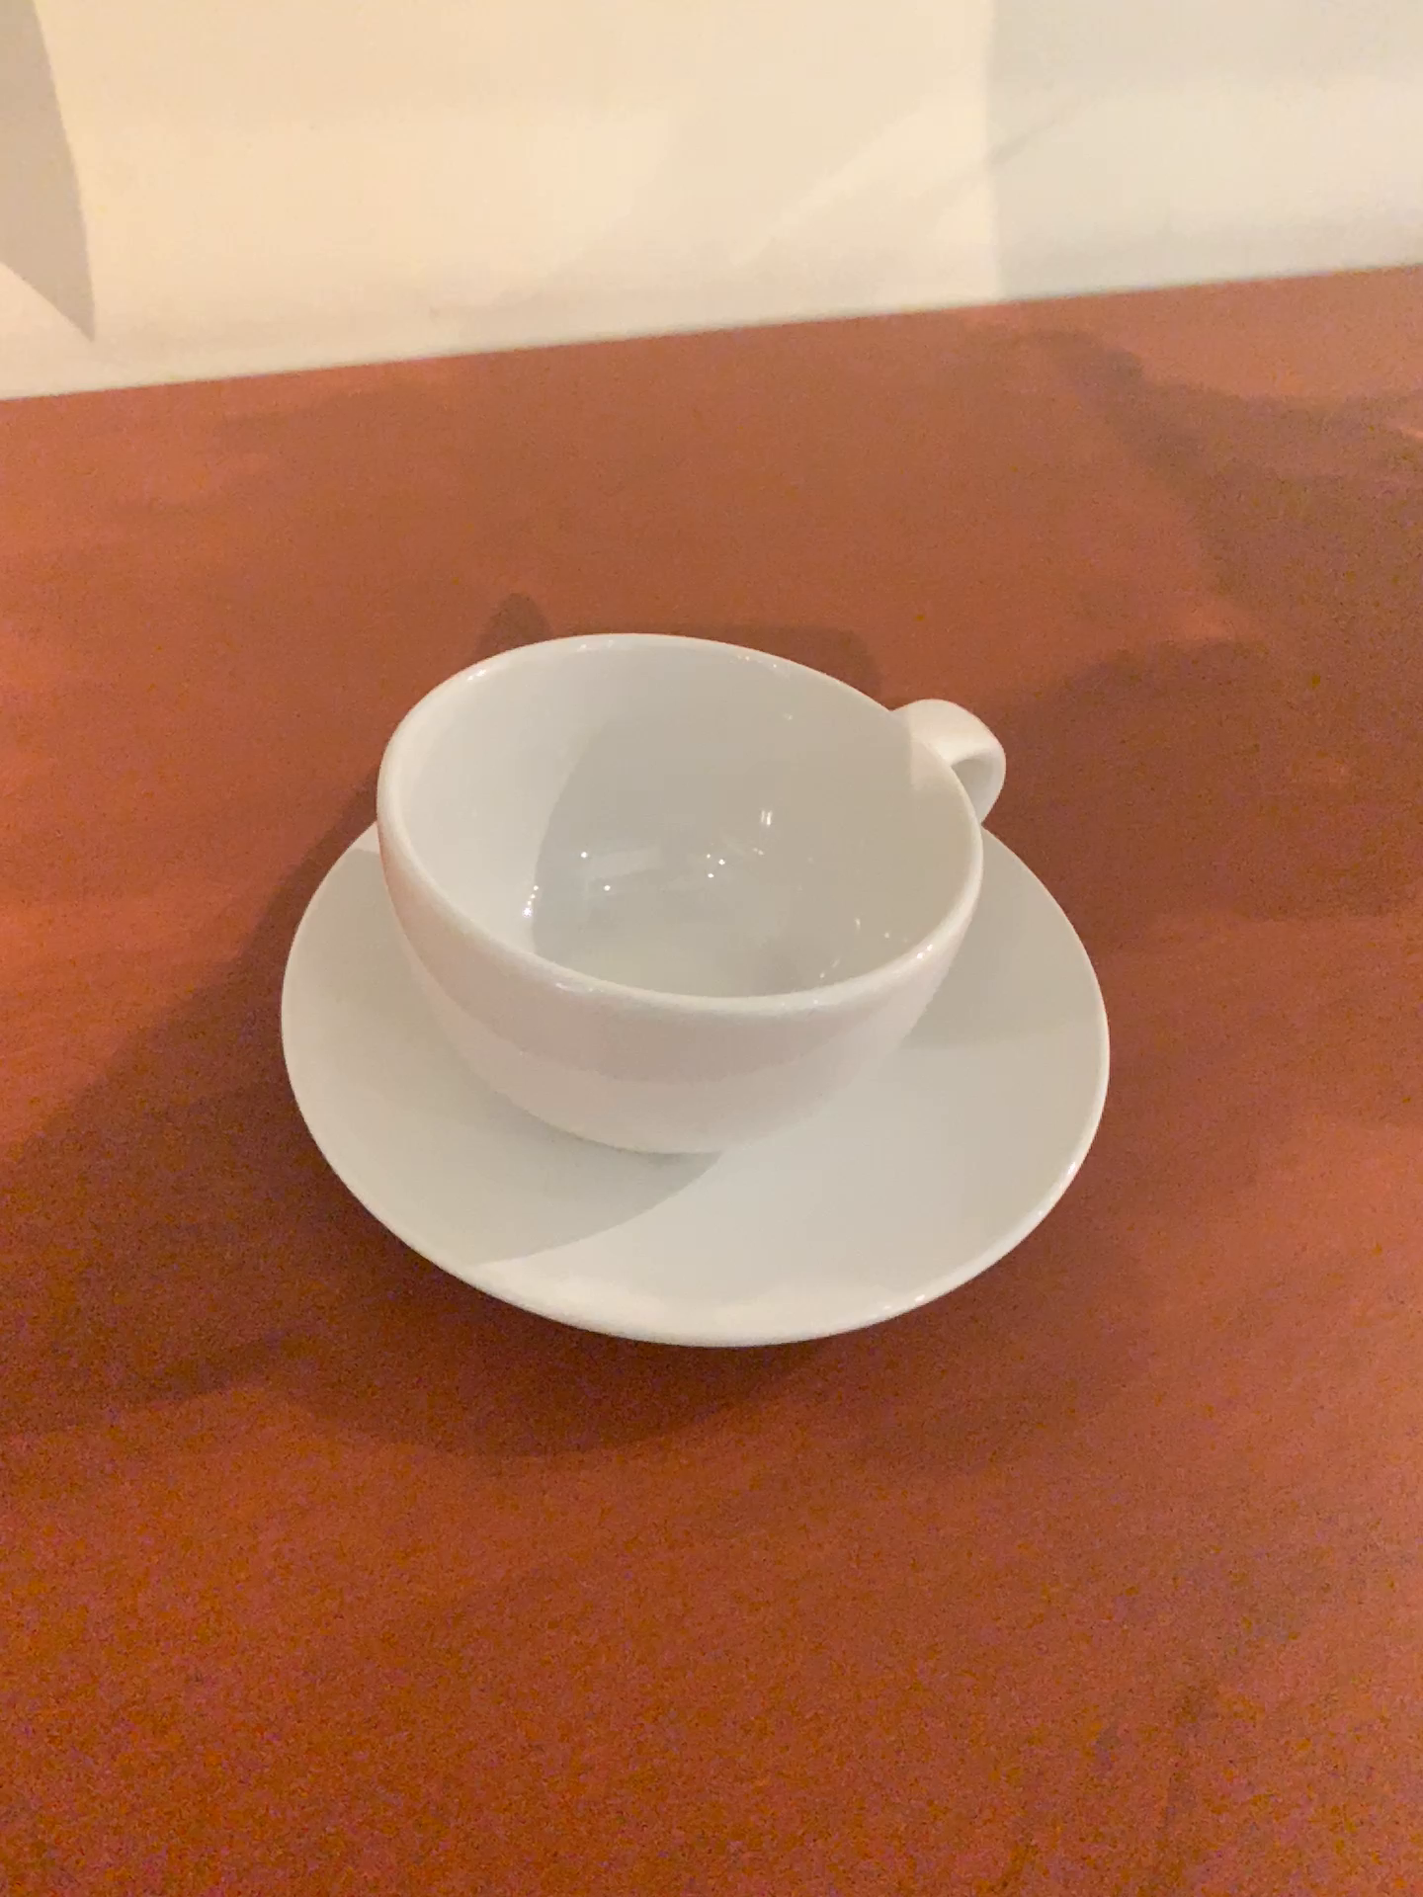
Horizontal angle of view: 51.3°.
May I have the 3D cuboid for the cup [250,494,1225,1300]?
[{"bbox_3d":[0.002,-0.016,0.223,0.110,0.050,0.080,-23,52,-27],"label":"cup"}]
